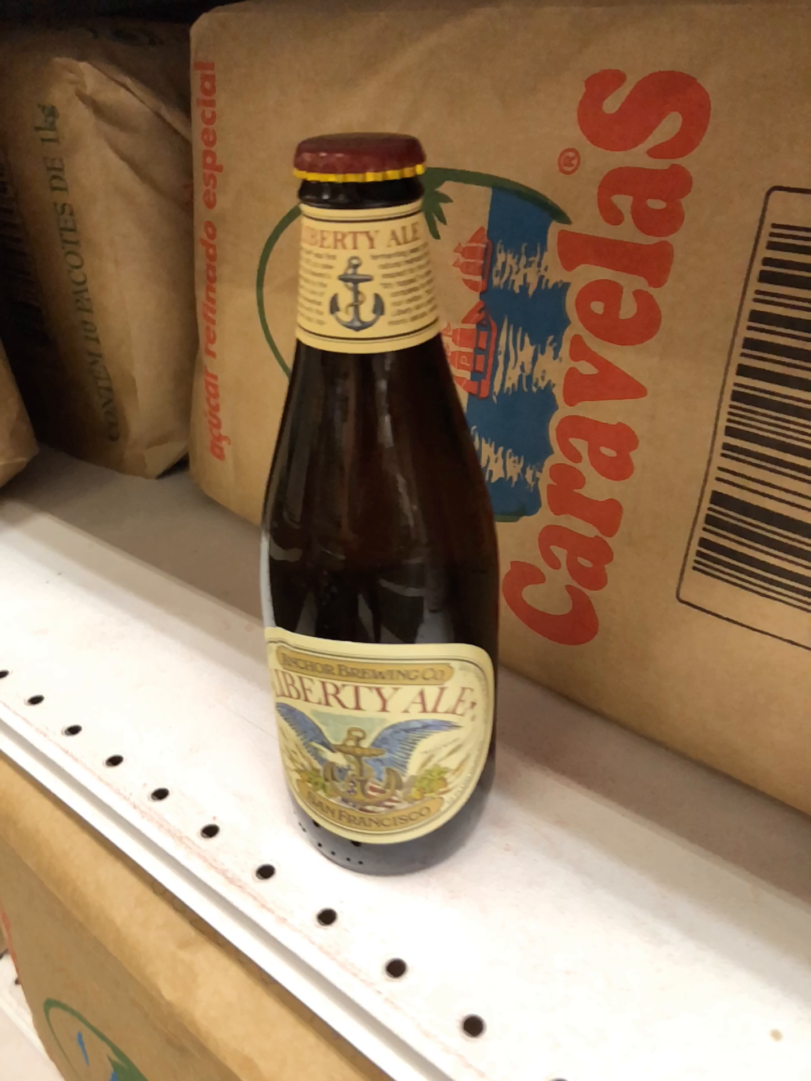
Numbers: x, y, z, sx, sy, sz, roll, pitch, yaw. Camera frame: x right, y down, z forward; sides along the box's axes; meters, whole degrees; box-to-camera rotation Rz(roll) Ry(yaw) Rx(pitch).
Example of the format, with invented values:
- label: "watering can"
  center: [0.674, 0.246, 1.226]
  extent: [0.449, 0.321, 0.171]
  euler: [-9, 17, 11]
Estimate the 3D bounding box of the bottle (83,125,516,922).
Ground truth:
- label: "bottle"
  center: [-0.016, -0.001, 0.234]
  extent: [0.070, 0.189, 0.071]
  euler: [-1, 29, 0]
